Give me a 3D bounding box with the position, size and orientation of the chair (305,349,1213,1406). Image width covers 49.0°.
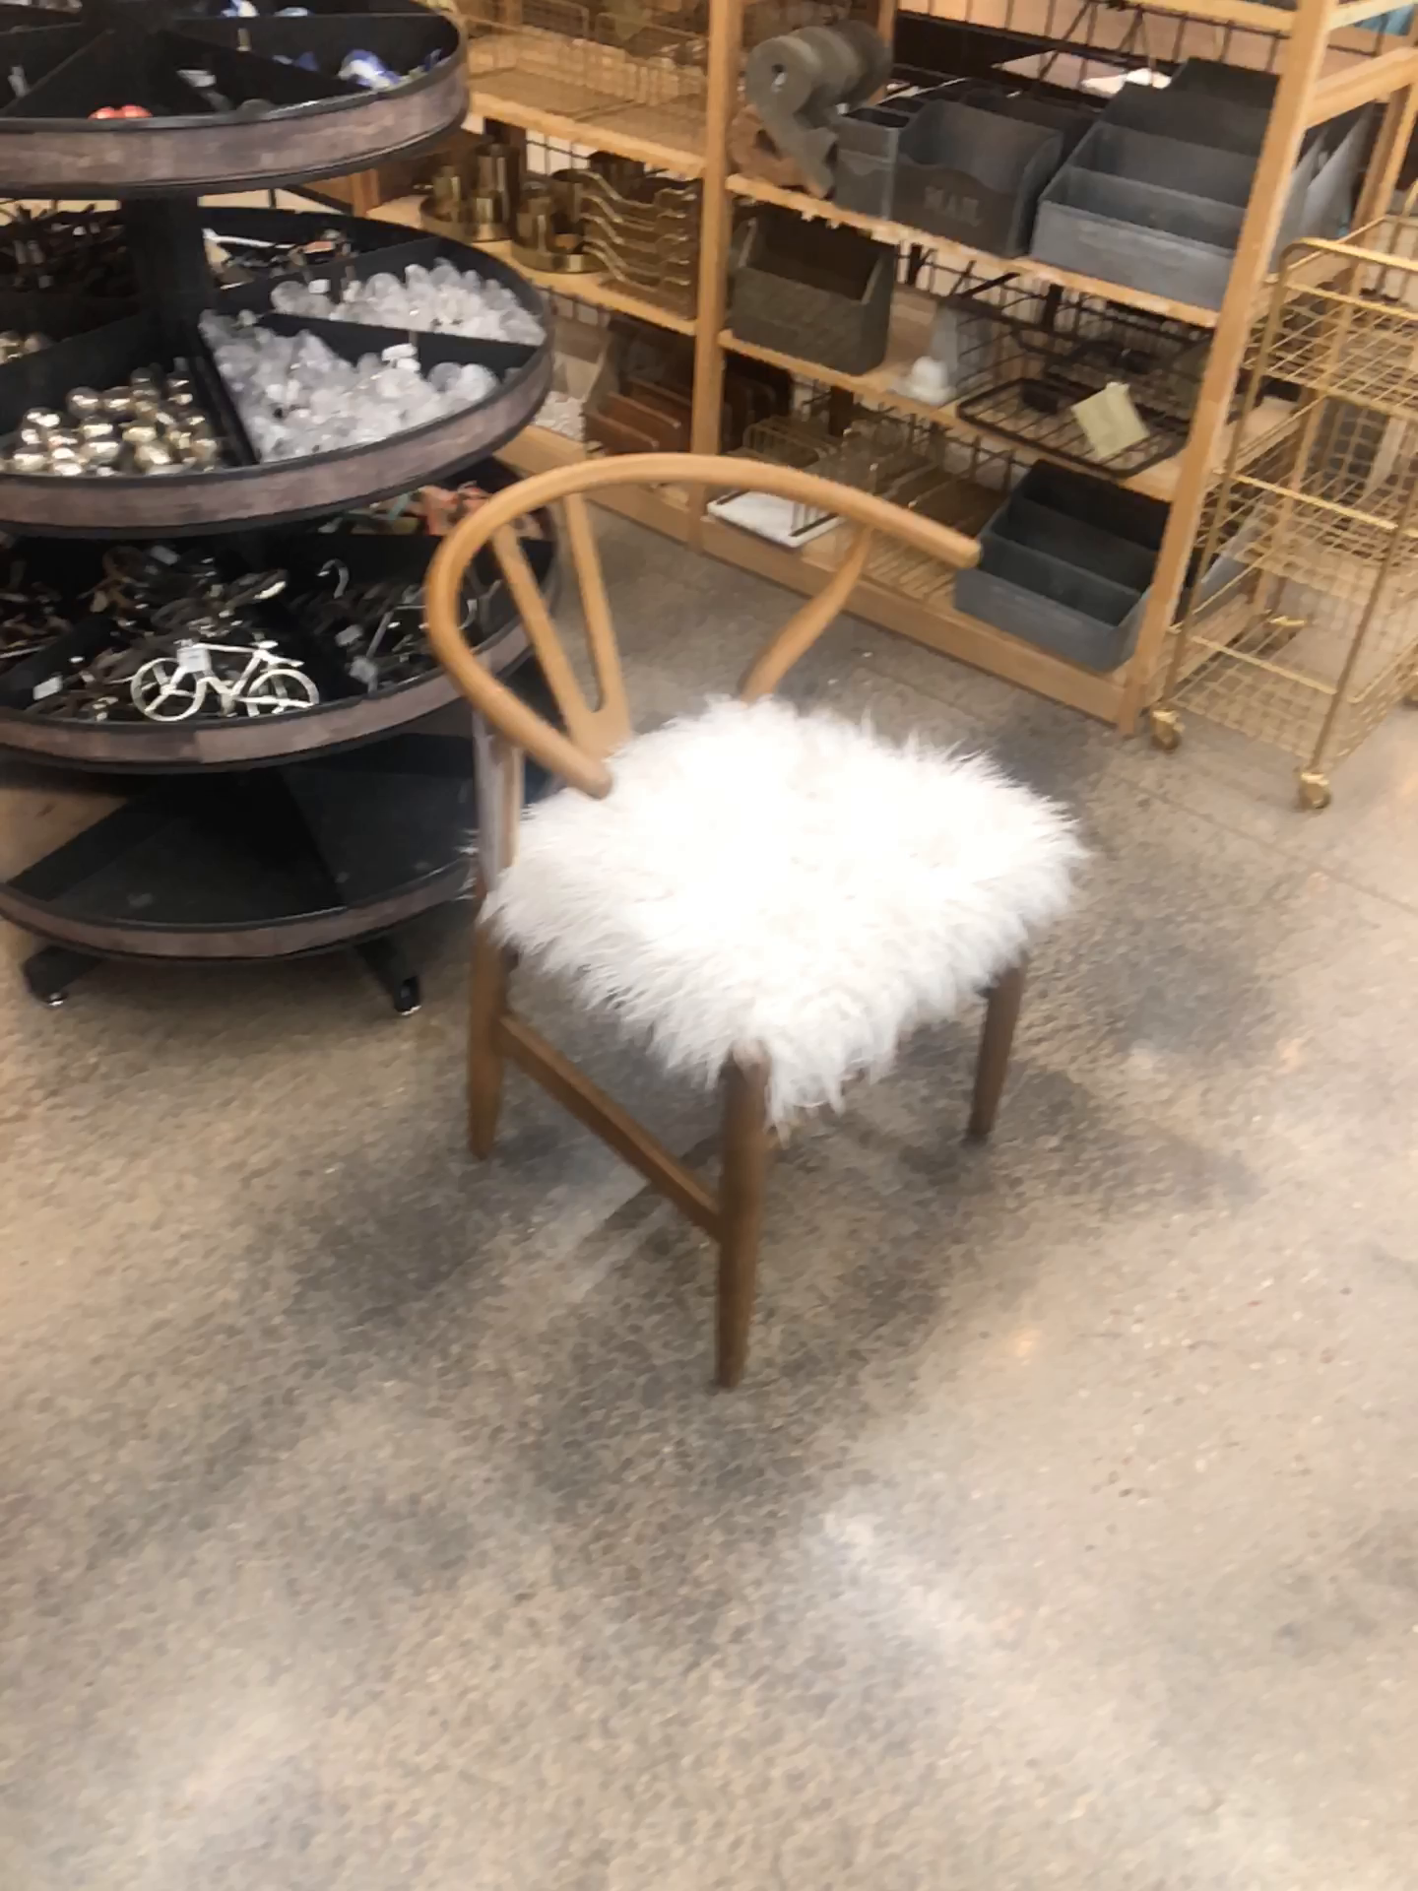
[{"bbox_3d":[0.033,-0.084,1.552,0.529,0.731,0.559,34,50,30],"label":"chair"}]
